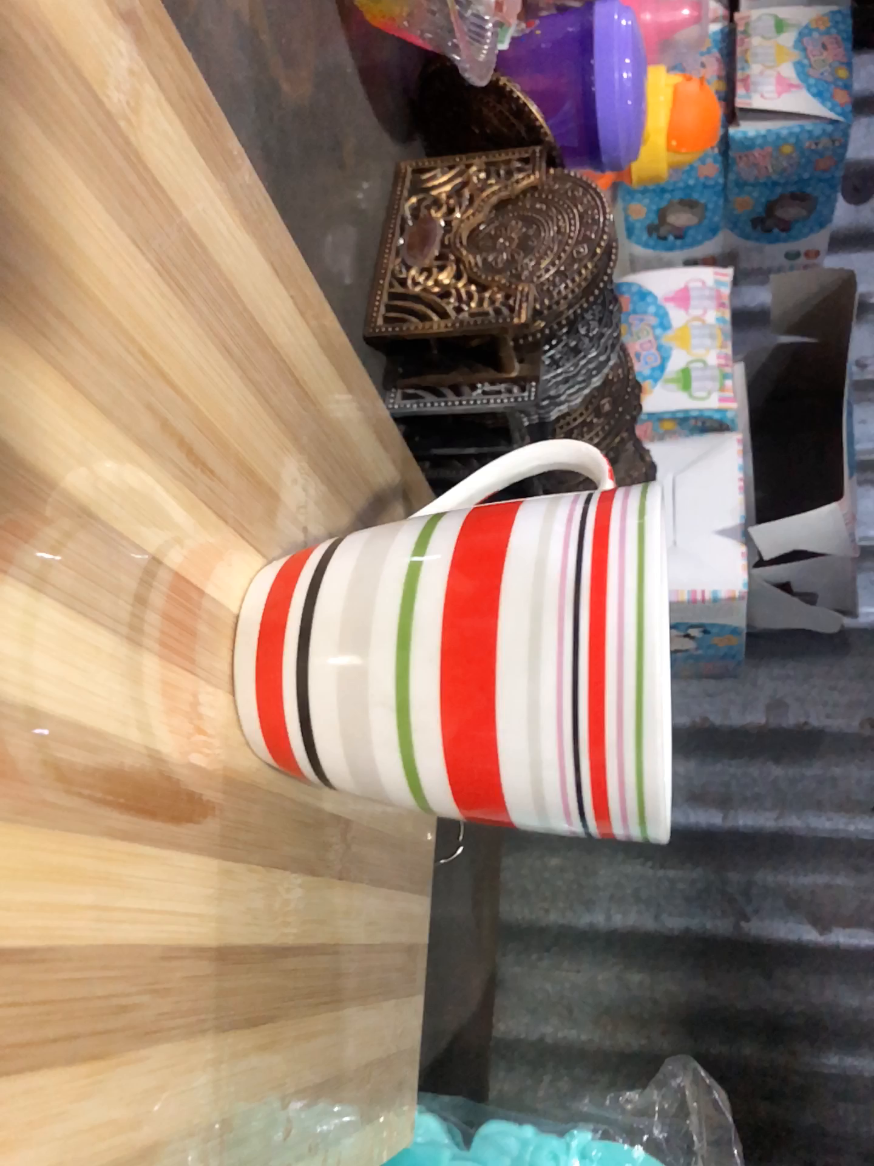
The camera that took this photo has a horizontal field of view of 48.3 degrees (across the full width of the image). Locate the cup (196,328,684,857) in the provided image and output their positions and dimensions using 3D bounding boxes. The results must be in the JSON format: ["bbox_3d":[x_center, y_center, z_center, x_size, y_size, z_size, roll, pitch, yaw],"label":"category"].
[{"bbox_3d":[0.011,0.008,0.248,0.080,0.100,0.110,56,37,-68],"label":"cup"}]
